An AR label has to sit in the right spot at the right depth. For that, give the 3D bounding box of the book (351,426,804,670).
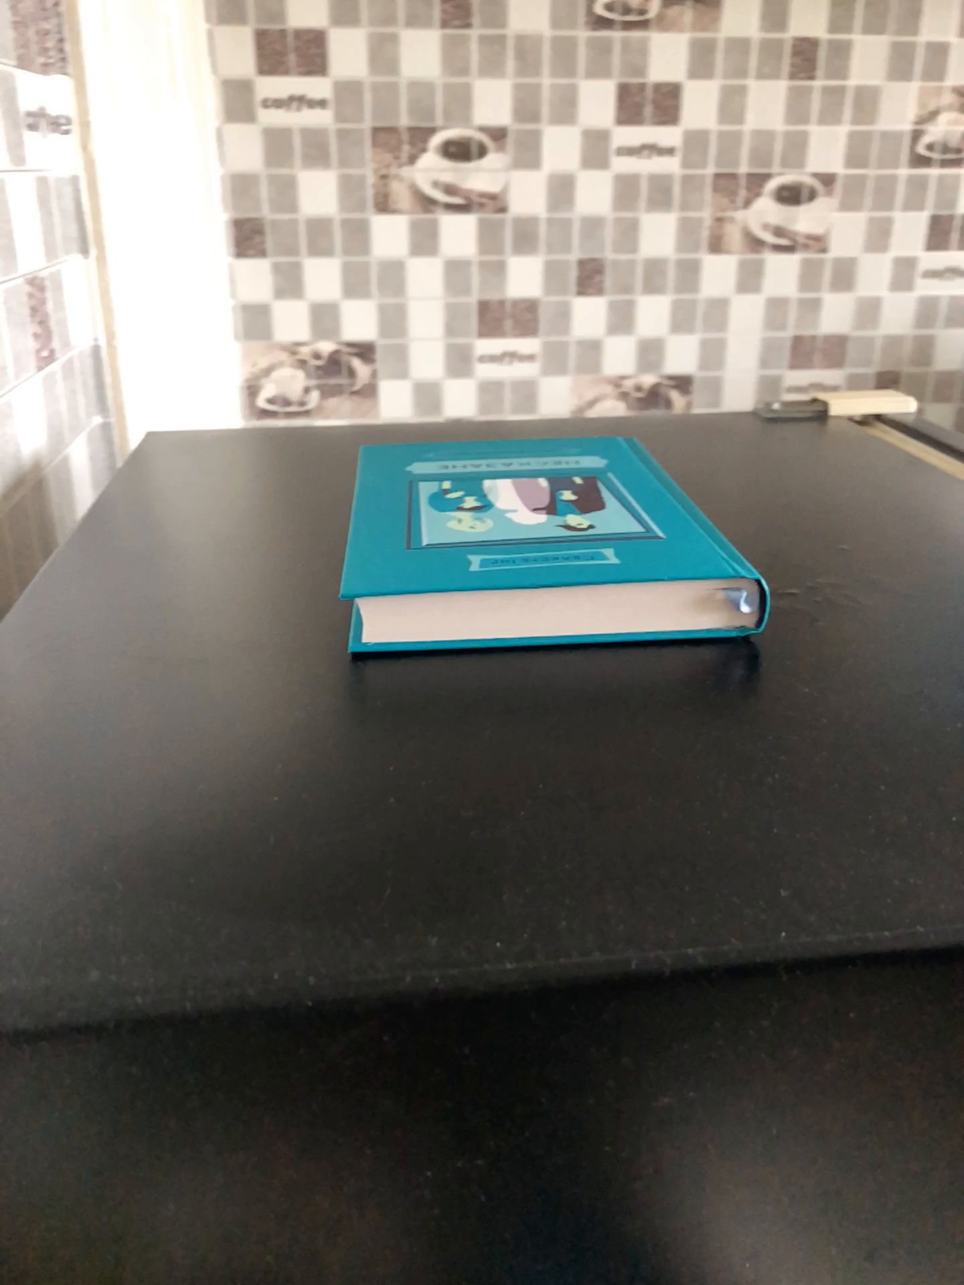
[{"bbox_3d":[0.023,-0.052,0.456,0.151,0.030,0.221,-3,24,-4],"label":"book"}]
